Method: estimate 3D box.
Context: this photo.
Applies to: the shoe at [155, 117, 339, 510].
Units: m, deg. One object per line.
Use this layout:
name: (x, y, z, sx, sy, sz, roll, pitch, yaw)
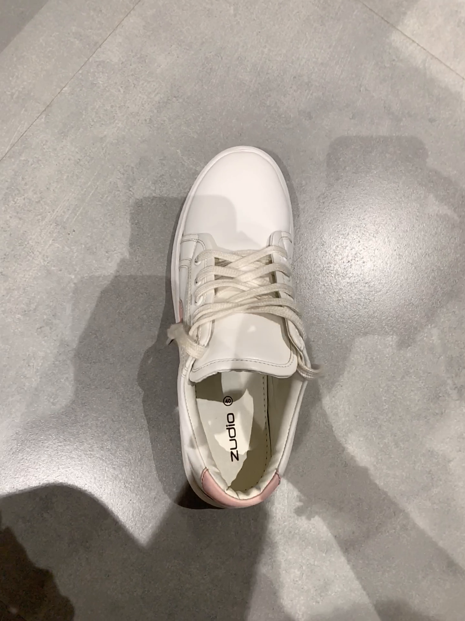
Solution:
shoe: (0.006, 0.002, 0.353, 0.110, 0.100, 0.250, 0, 81, -3)
